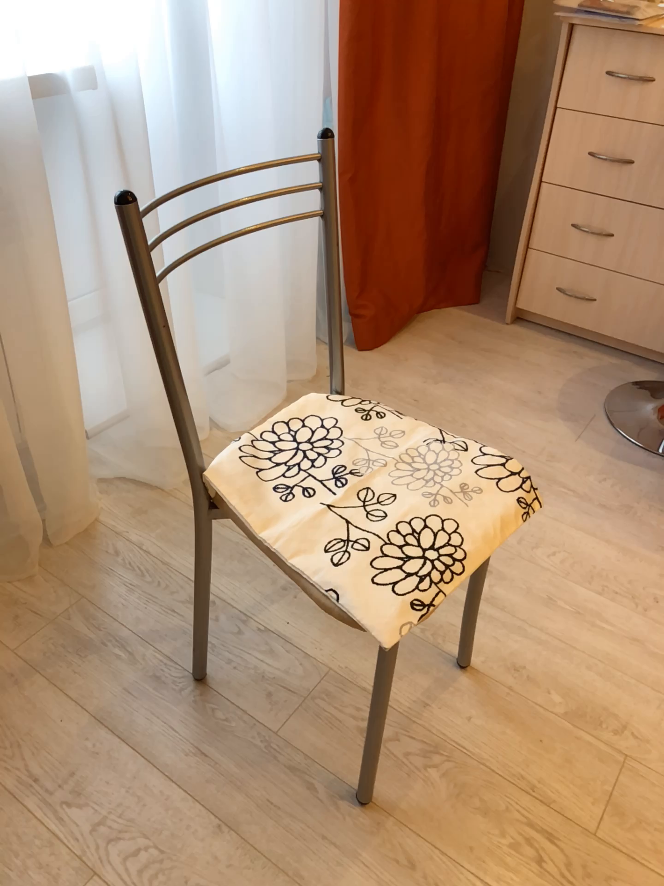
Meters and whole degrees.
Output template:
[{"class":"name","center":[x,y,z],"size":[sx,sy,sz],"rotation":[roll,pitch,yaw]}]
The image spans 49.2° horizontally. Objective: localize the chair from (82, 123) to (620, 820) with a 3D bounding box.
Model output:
[{"class":"chair","center":[0.024,0.039,1.043],"size":[0.441,0.794,0.422],"rotation":[24,42,27]}]
